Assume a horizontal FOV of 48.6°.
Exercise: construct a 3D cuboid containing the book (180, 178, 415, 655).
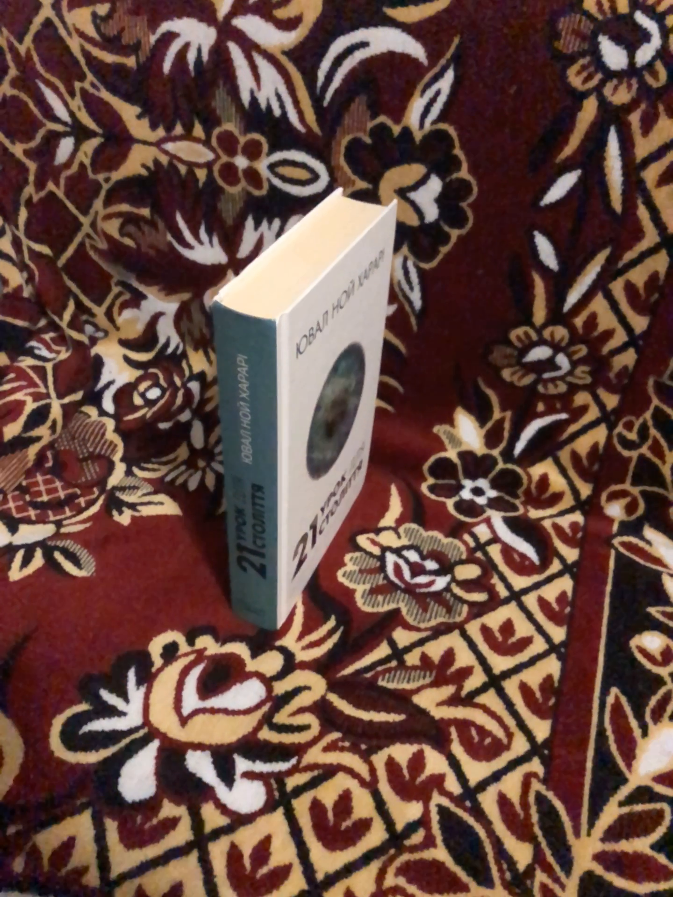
[{"bbox_3d":[-0.016,-0.016,0.408,0.040,0.211,0.154,19,41,18],"label":"book"}]
